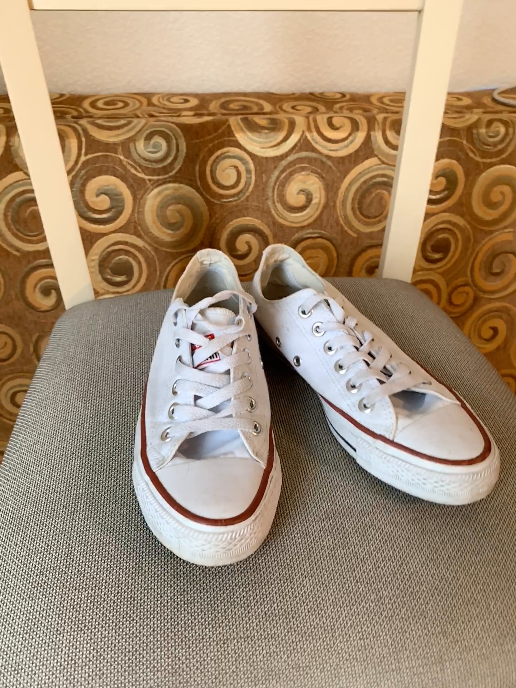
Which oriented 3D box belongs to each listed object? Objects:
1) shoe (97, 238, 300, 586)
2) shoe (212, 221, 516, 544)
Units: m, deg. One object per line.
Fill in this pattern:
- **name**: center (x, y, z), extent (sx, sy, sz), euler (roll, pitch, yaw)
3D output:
- **shoe**: center (-0.039, 0.023, 0.335), extent (0.090, 0.060, 0.221), euler (-3, 46, -6)
- **shoe**: center (0.066, 0.008, 0.360), extent (0.090, 0.060, 0.221), euler (-25, 52, -25)
